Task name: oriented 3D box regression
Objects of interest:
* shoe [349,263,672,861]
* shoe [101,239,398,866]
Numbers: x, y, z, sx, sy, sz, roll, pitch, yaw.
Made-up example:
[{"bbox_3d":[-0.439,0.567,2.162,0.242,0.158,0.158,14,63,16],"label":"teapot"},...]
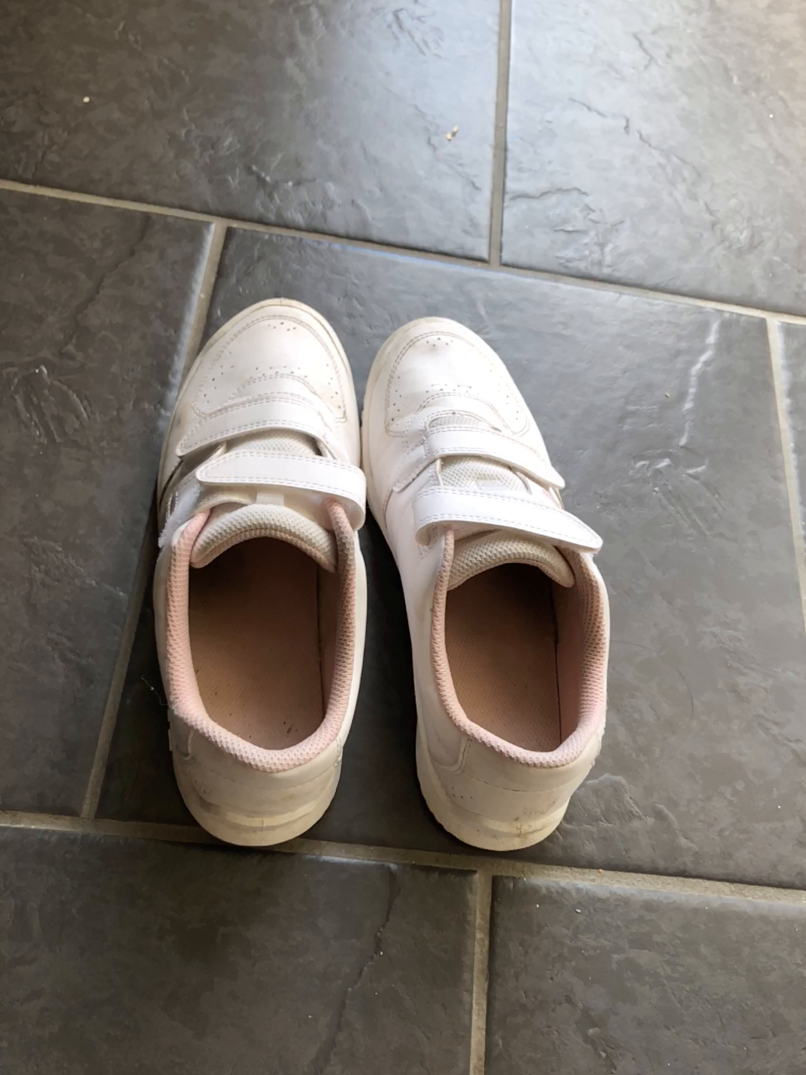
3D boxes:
[{"bbox_3d":[0.033,0.006,0.405,0.095,0.090,0.251,0,65,-9],"label":"shoe"},{"bbox_3d":[-0.059,0.003,0.385,0.095,0.090,0.251,2,64,-8],"label":"shoe"}]
